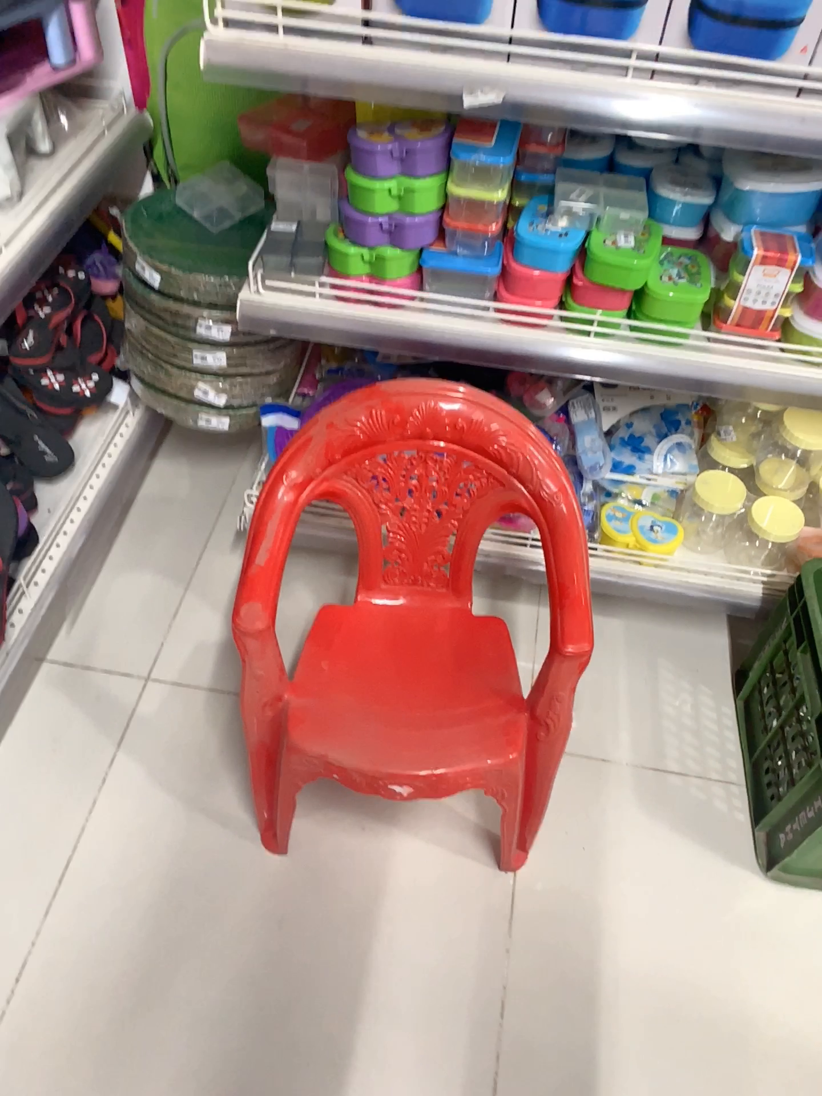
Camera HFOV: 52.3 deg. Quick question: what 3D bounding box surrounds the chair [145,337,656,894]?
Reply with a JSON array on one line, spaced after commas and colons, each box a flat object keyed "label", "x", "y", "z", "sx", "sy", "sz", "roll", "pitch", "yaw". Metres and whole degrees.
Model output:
[{"label": "chair", "x": -0.001, "y": 0.099, "z": 0.992, "sx": 0.410, "sy": 0.499, "sz": 0.411, "roll": 5, "pitch": 51, "yaw": 2}]
